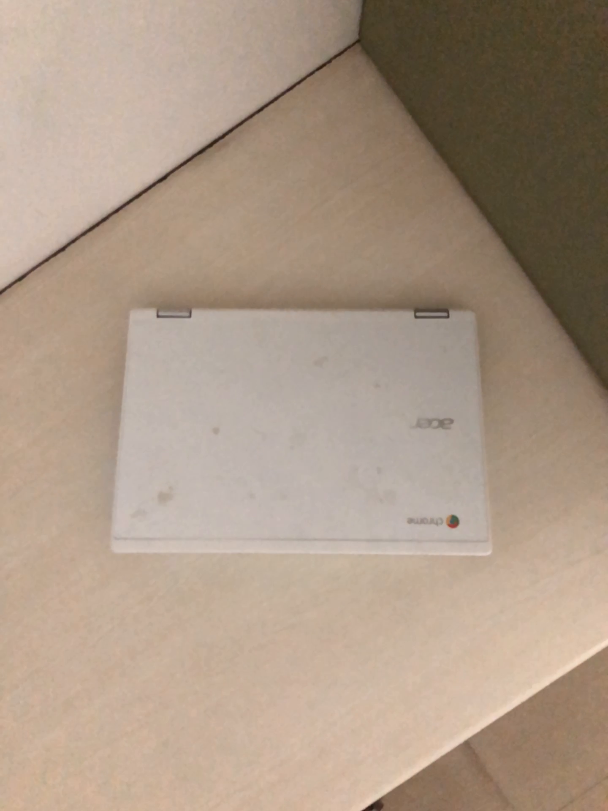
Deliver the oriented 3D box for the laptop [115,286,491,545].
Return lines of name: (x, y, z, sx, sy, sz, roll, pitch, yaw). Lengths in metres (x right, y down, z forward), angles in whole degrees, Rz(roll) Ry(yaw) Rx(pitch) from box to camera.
laptop: (-0.001, 0.007, 0.536, 0.282, 0.055, 0.191, 1, 90, 1)
